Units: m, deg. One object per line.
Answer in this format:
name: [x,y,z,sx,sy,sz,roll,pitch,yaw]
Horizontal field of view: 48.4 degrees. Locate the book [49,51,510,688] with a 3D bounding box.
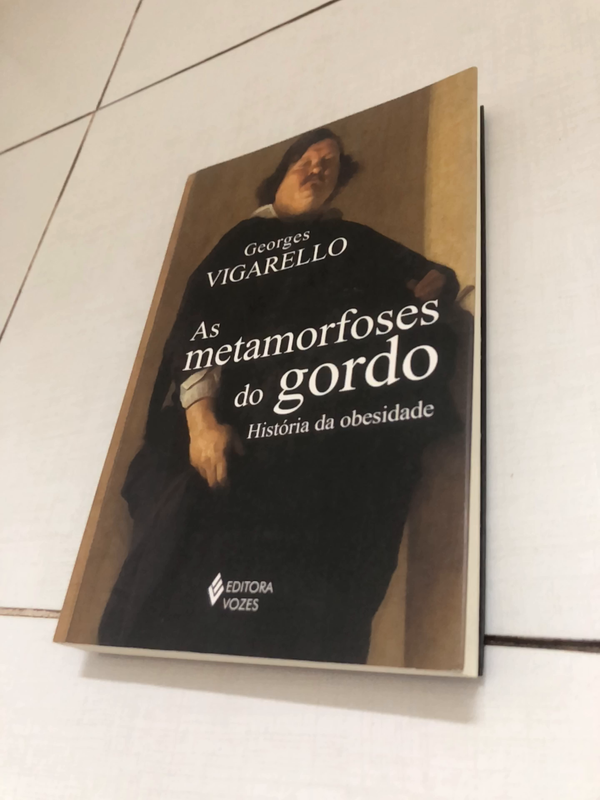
book: [-0.002,-0.018,0.231,0.137,0.023,0.204,-9,58,30]
